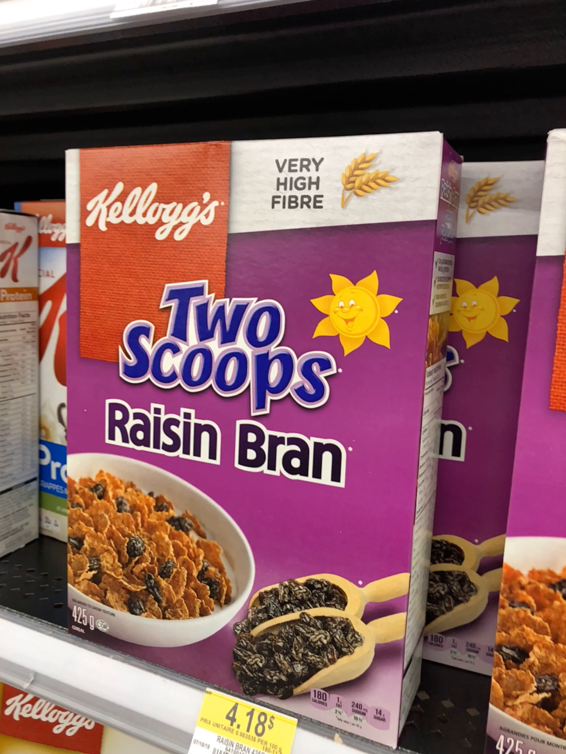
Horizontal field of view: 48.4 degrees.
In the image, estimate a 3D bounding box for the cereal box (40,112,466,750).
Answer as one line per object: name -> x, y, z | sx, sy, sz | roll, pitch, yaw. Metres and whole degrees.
cereal box -> -0.025, 0.019, 0.320 | 0.200, 0.269, 0.050 | 6, 10, 23
